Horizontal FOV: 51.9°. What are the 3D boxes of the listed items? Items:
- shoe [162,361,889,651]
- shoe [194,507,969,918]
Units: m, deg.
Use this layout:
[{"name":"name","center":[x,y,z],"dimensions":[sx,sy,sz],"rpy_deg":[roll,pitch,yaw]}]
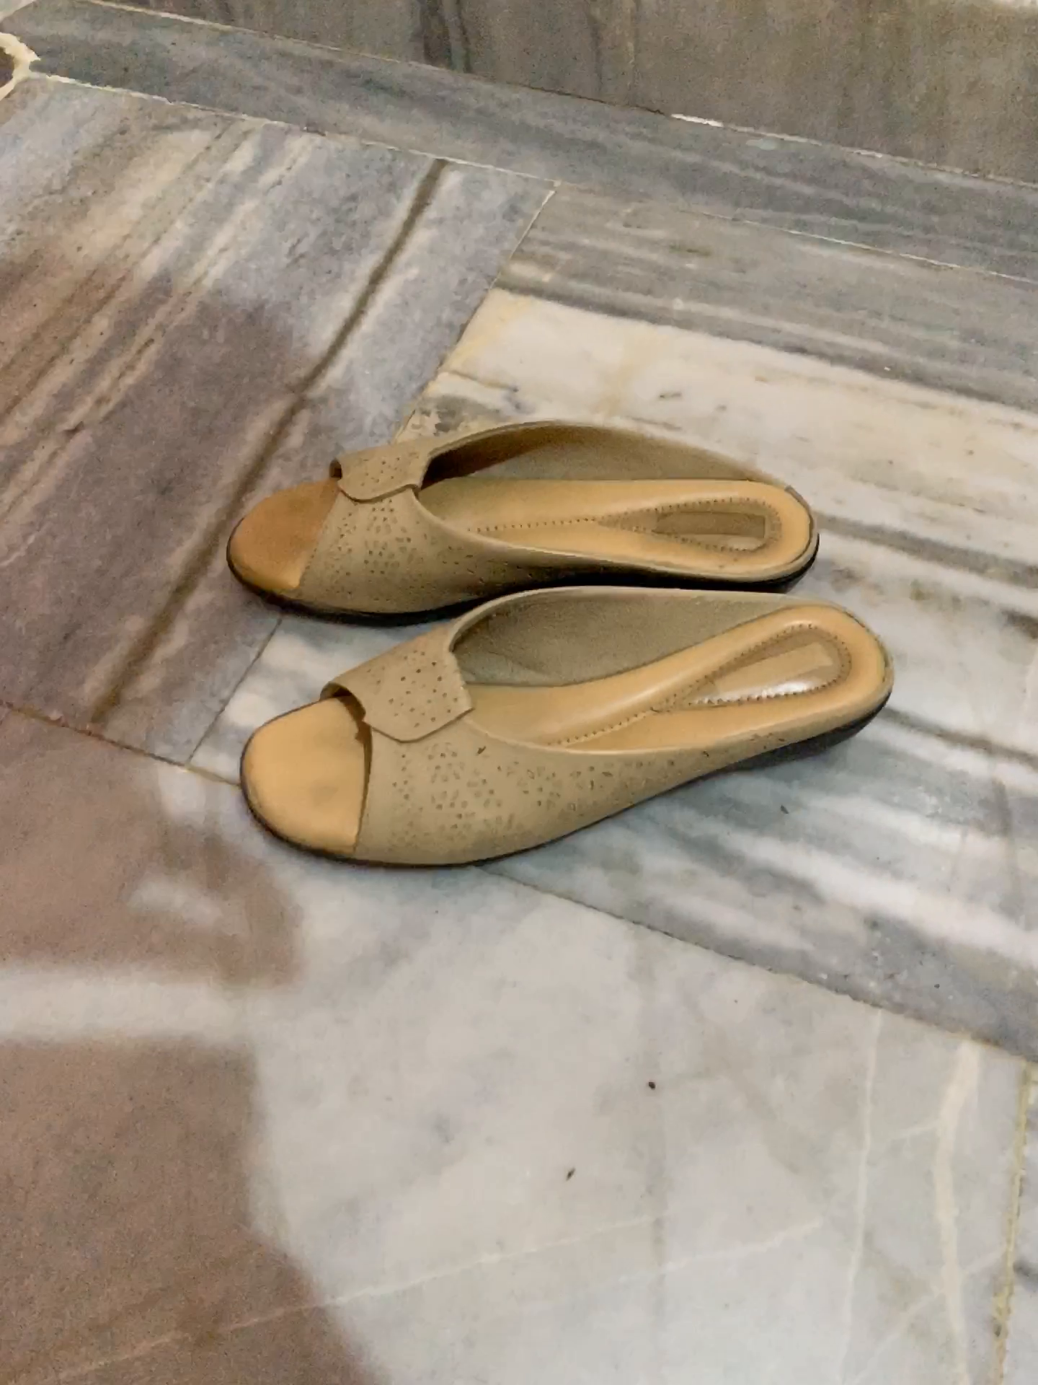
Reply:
[{"name":"shoe","center":[0.003,-0.080,0.457],"dimensions":[0.274,0.070,0.095],"rpy_deg":[1,56,0]},{"name":"shoe","center":[0.018,0.005,0.407],"dimensions":[0.260,0.070,0.095],"rpy_deg":[-9,57,-7]}]
